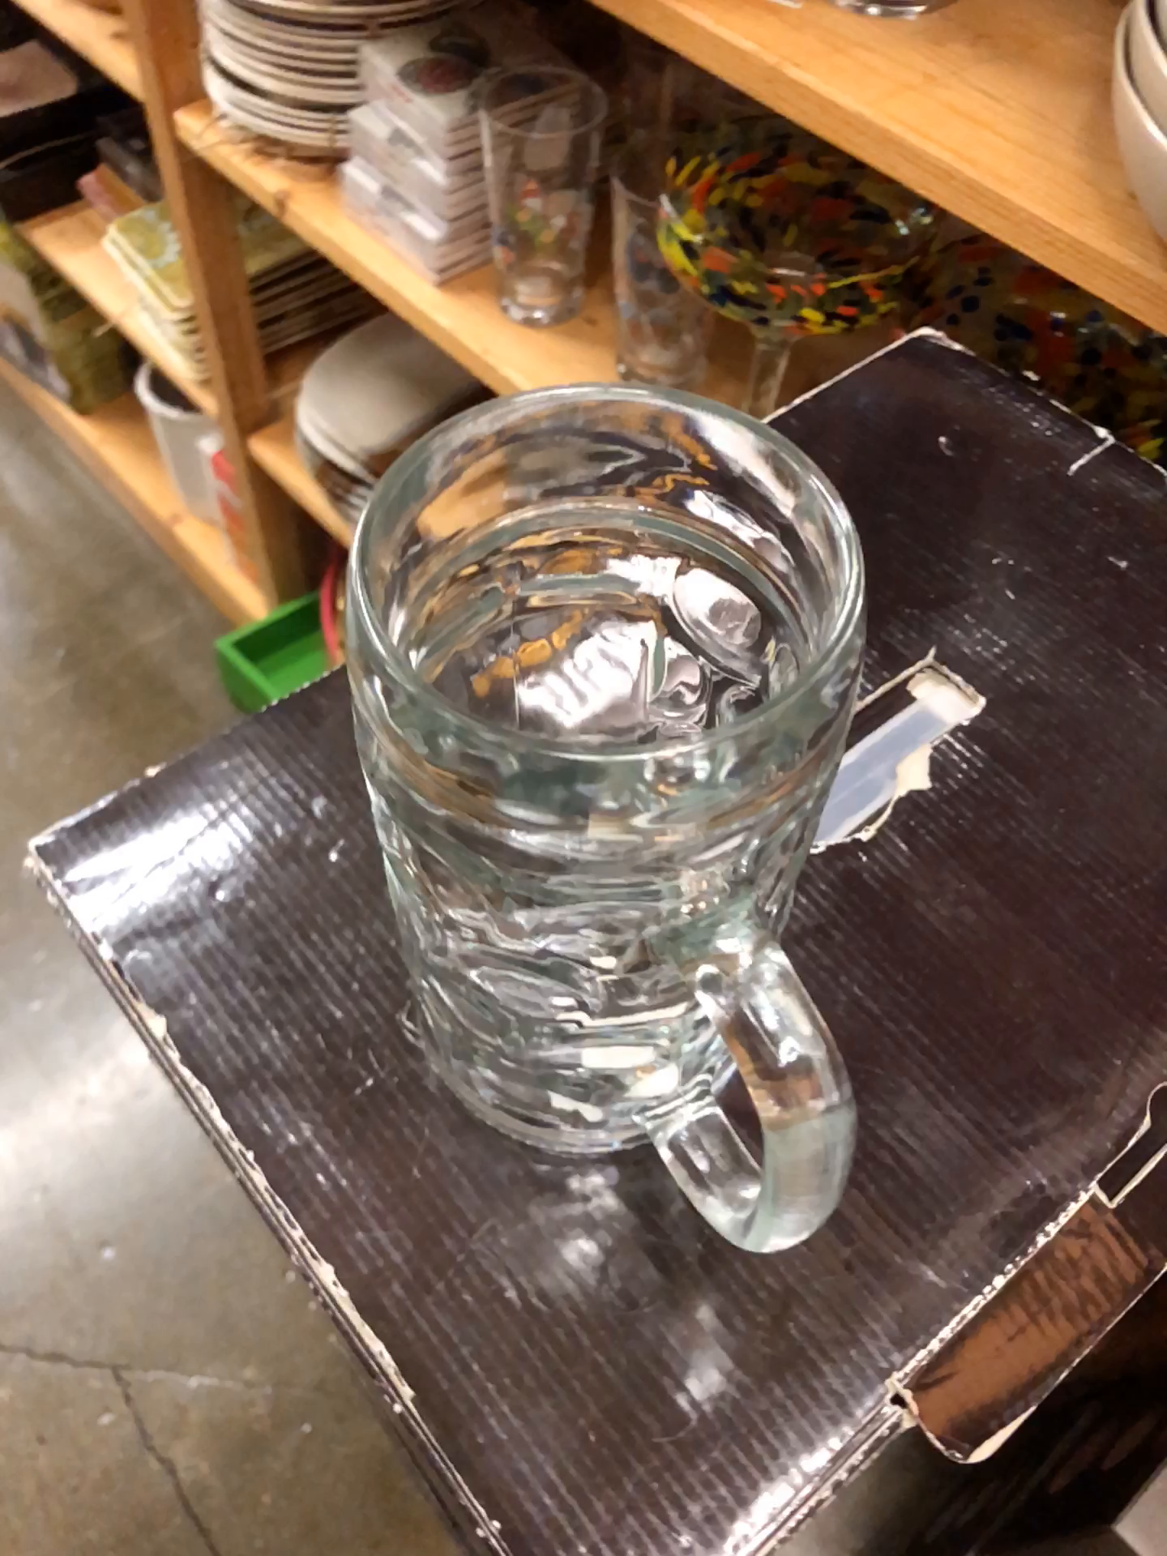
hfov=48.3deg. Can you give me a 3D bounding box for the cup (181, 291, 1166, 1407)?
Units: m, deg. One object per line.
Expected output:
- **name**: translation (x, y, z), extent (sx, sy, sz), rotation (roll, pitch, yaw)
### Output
- **cup**: translation (0.009, 0.018, 0.242), extent (0.100, 0.136, 0.129), rotation (-22, 59, -16)
